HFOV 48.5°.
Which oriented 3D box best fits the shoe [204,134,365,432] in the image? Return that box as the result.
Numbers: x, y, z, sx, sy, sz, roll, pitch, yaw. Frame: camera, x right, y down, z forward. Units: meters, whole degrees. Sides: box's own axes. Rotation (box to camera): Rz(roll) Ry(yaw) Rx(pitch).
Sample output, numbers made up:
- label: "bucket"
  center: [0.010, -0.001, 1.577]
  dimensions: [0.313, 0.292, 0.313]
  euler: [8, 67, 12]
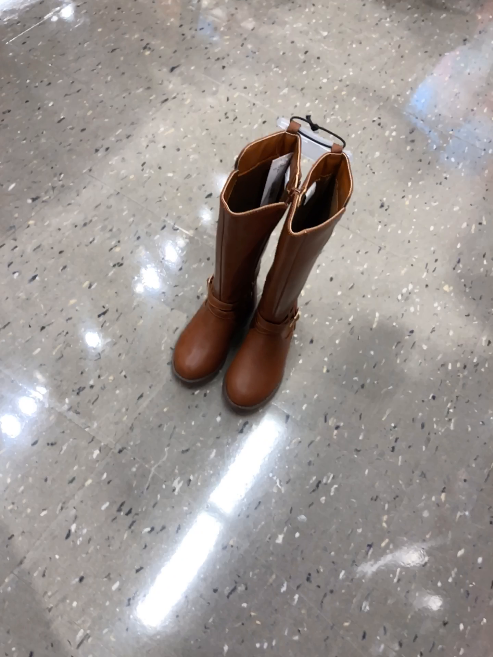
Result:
- label: "shoe"
  center: [0.030, -0.032, 0.587]
  dimensions: [0.070, 0.270, 0.190]
  euler: [22, 60, 6]

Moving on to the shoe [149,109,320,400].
- label: "shoe"
  center: [-0.025, -0.061, 0.588]
  dimensions: [0.070, 0.270, 0.180]
  euler: [27, 60, 3]
